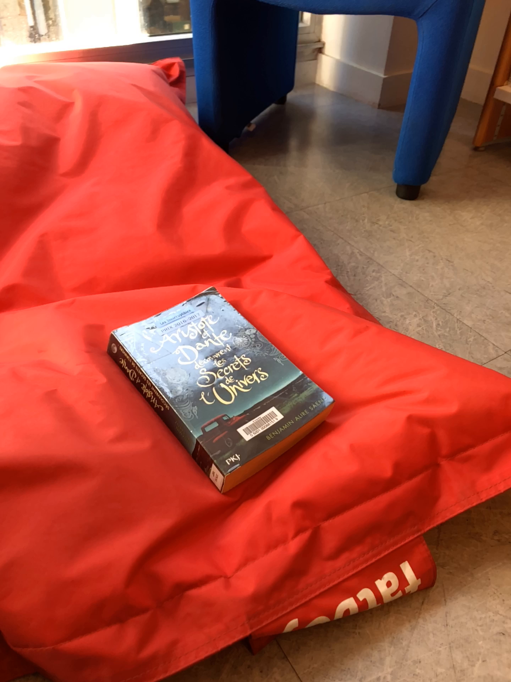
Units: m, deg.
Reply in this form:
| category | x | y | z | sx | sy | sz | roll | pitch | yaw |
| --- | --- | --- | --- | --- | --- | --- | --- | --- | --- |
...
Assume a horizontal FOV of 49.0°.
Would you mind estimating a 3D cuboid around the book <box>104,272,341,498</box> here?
| category | x | y | z | sx | sy | sz | roll | pitch | yaw |
| --- | --- | --- | --- | --- | --- | --- | --- | --- | --- |
| book | -0.041 | 0.033 | 0.614 | 0.149 | 0.048 | 0.229 | -28 | 55 | -24 |
